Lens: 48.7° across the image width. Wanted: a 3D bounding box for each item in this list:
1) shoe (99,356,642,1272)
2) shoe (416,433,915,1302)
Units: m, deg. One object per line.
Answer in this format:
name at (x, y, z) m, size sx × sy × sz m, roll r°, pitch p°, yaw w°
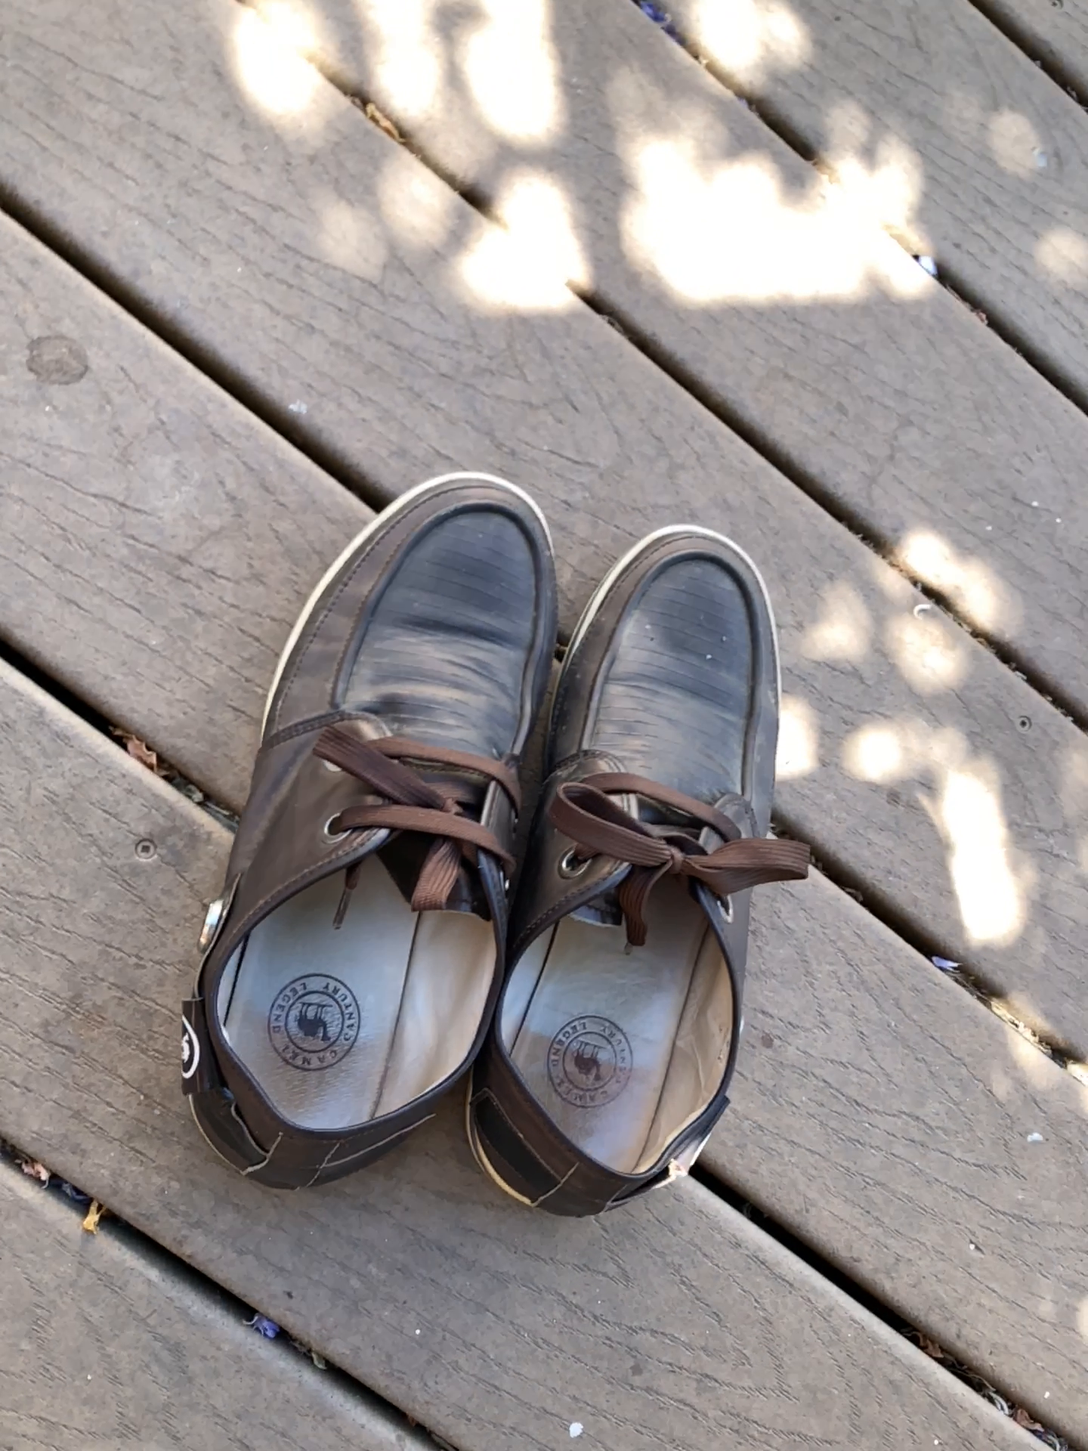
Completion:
shoe at (-0.064, 0.031, 0.456) m, size 0.107 × 0.115 × 0.287 m, roll 17°, pitch 78°, yaw -13°
shoe at (0.047, 0.051, 0.477) m, size 0.107 × 0.105 × 0.289 m, roll 17°, pitch 78°, yaw -13°
